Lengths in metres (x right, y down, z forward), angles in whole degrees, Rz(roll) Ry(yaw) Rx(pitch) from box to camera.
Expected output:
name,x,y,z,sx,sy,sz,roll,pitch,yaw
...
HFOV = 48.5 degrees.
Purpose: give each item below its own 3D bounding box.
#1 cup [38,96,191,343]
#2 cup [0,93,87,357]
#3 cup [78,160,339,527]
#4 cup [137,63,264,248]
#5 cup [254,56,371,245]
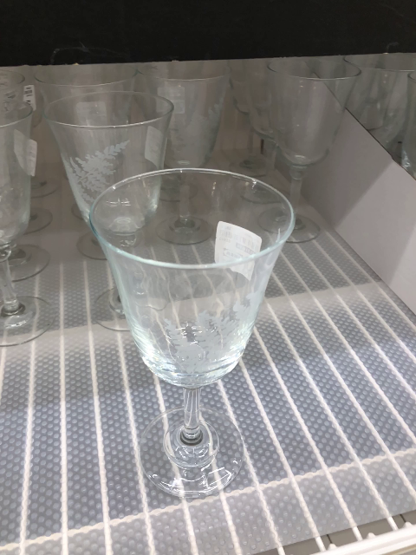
name,x,y,z,sx,sy,sz,roll,pitch,yaw
cup,-0.064,-0.044,0.348,0.087,0.155,0.090,1,34,0
cup,-0.142,-0.037,0.318,0.079,0.146,0.087,1,34,0
cup,-0.007,0.034,0.234,0.089,0.156,0.087,1,34,0
cup,-0.011,-0.111,0.417,0.089,0.136,0.087,1,34,0
cup,0.081,-0.107,0.384,0.069,0.126,0.087,6,35,8
